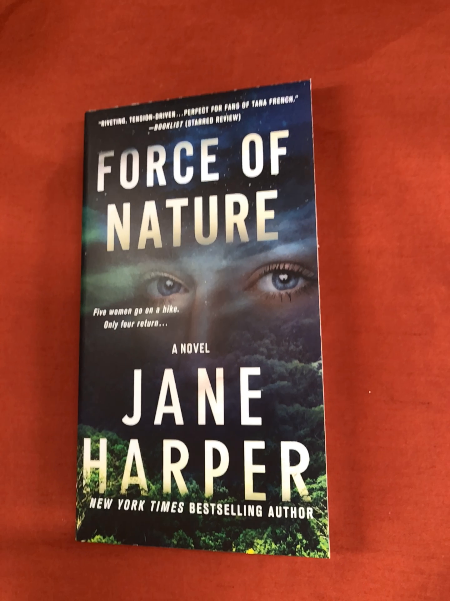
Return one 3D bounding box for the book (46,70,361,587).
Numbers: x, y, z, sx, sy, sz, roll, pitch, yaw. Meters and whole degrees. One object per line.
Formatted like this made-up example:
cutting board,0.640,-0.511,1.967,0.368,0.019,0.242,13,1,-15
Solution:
book,-0.007,0.012,0.211,0.110,0.050,0.180,-4,88,12
